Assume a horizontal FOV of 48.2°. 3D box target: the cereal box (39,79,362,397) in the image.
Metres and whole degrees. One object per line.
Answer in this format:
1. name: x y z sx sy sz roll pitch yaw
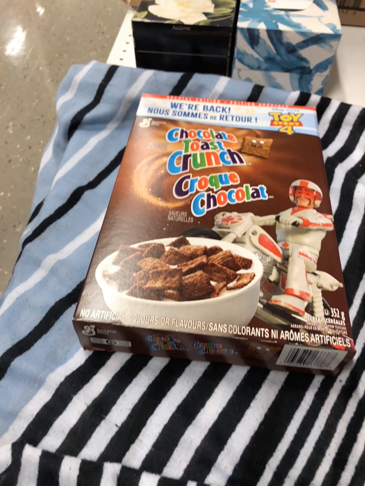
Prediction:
1. cereal box: 0.024 -0.031 0.378 0.210 0.060 0.301 6 54 2
